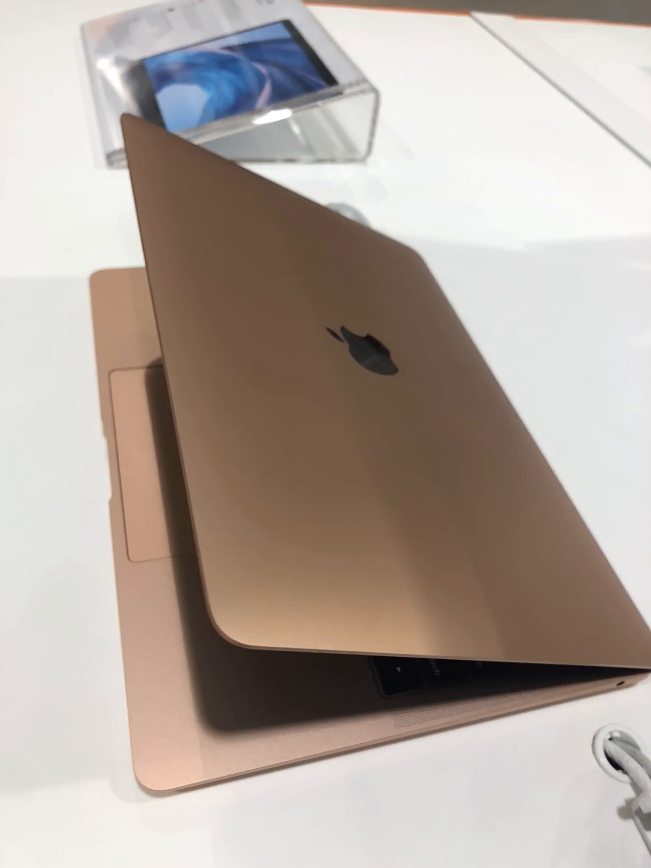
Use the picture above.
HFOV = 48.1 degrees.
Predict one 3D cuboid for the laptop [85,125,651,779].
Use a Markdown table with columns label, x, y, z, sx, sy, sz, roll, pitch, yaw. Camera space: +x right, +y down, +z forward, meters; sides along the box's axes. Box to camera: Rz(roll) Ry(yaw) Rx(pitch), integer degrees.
| label | x | y | z | sx | sy | sz | roll | pitch | yaw |
| --- | --- | --- | --- | --- | --- | --- | --- | --- | --- |
| laptop | 0.009 | -0.031 | 0.333 | 0.208 | 0.091 | 0.286 | -6 | 48 | -15 |
